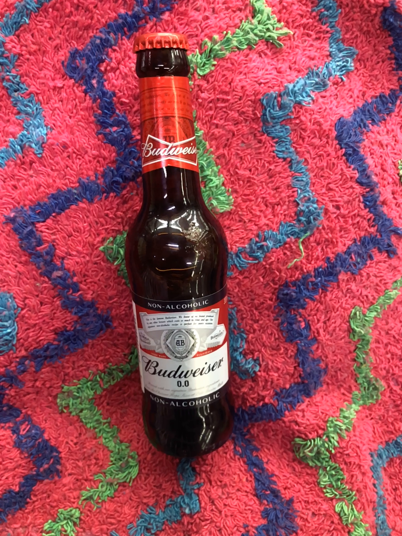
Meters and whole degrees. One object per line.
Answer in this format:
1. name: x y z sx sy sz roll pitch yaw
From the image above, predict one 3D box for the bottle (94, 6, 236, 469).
1. bottle: -0.015 -0.008 0.267 0.060 0.050 0.250 -3 103 0
